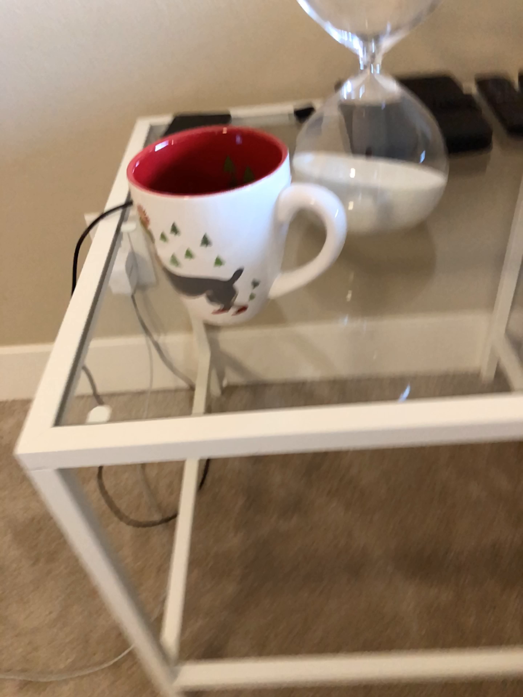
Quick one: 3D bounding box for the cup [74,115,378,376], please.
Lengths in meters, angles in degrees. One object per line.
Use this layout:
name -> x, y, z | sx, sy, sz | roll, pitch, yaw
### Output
cup -> -0.014, -0.072, 0.377 | 0.150, 0.109, 0.100 | 13, 46, 22
